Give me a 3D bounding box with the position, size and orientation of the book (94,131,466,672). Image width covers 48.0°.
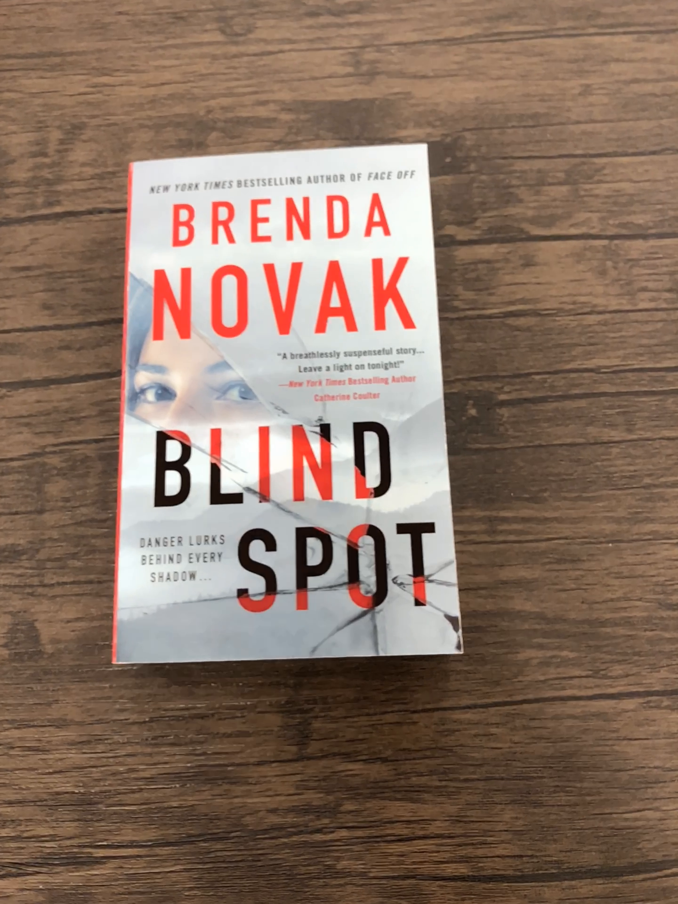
[{"bbox_3d":[-0.020,-0.018,0.261,0.109,0.039,0.175,-2,77,1],"label":"book"}]
